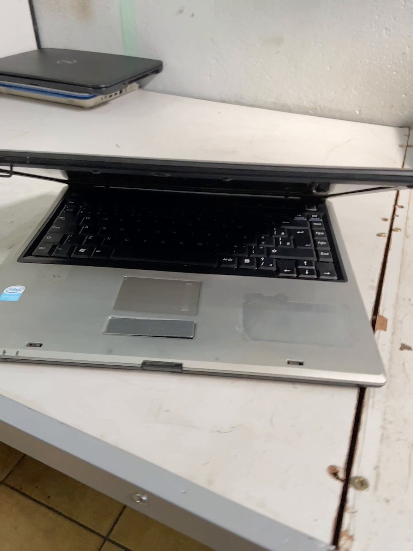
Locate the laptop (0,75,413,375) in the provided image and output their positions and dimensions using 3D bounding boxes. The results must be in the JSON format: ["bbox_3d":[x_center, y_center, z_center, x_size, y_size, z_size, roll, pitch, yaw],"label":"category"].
[{"bbox_3d":[-0.025,-0.071,0.374,0.316,0.130,0.255,3,38,5],"label":"laptop"}]
